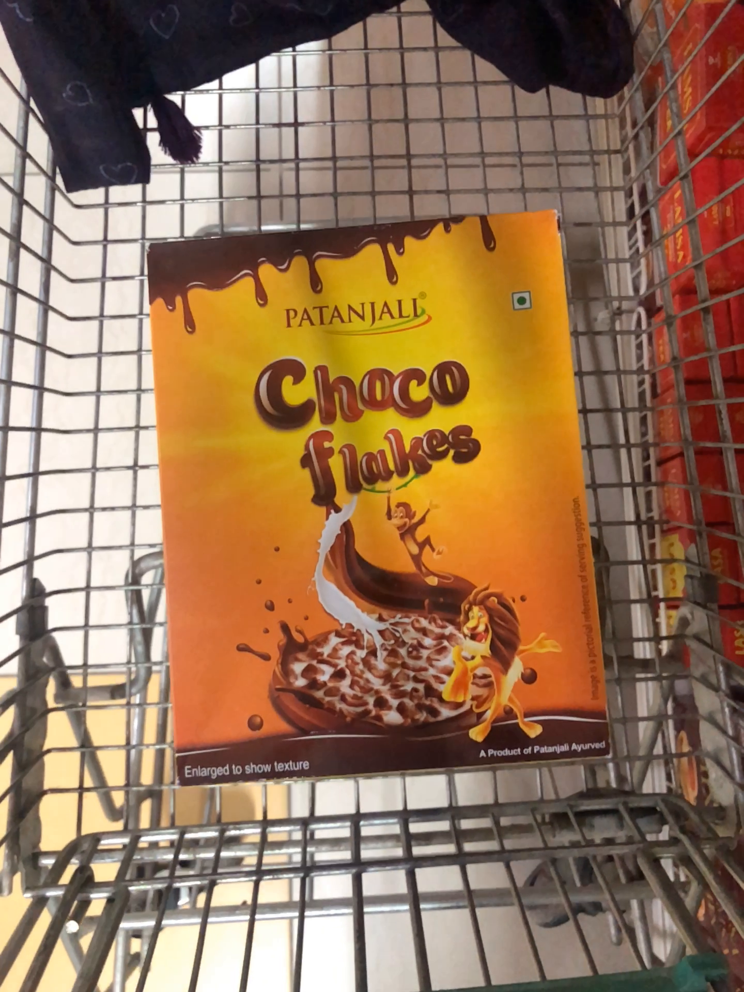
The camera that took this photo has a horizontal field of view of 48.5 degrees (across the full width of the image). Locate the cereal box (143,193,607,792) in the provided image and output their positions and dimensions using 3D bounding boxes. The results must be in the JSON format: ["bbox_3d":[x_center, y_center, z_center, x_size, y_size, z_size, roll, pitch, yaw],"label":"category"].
[{"bbox_3d":[-0.001,0.000,0.388,0.170,0.110,0.230,-5,85,0],"label":"cereal box"}]
